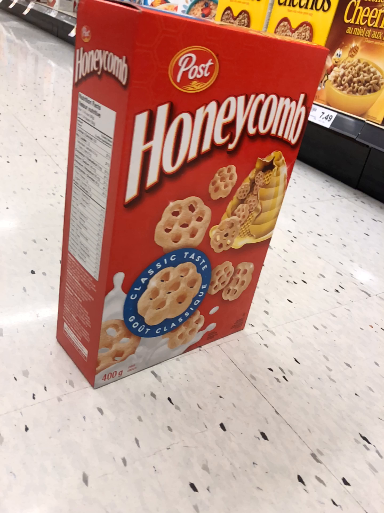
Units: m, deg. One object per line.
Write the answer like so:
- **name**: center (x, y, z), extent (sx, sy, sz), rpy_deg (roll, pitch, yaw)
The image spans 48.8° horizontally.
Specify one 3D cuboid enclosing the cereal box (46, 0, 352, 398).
- **cereal box**: center (-0.006, -0.048, 0.382), extent (0.211, 0.298, 0.090), rpy_deg (-13, 38, -39)
